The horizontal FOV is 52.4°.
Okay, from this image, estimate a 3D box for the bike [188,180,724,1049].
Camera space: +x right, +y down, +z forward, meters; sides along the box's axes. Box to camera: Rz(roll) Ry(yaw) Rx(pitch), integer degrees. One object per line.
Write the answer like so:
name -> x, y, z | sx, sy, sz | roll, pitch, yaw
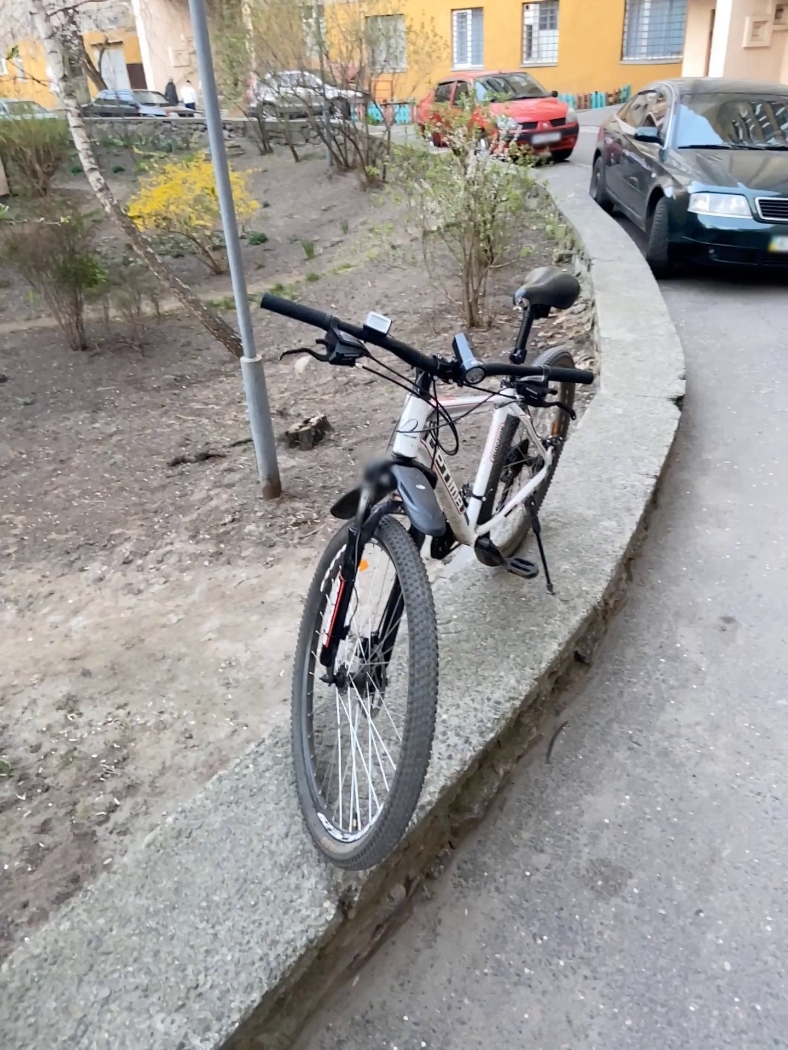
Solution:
bike -> 0.342, -0.062, 2.000 | 0.678, 1.144, 1.760 | 9, 35, 20
